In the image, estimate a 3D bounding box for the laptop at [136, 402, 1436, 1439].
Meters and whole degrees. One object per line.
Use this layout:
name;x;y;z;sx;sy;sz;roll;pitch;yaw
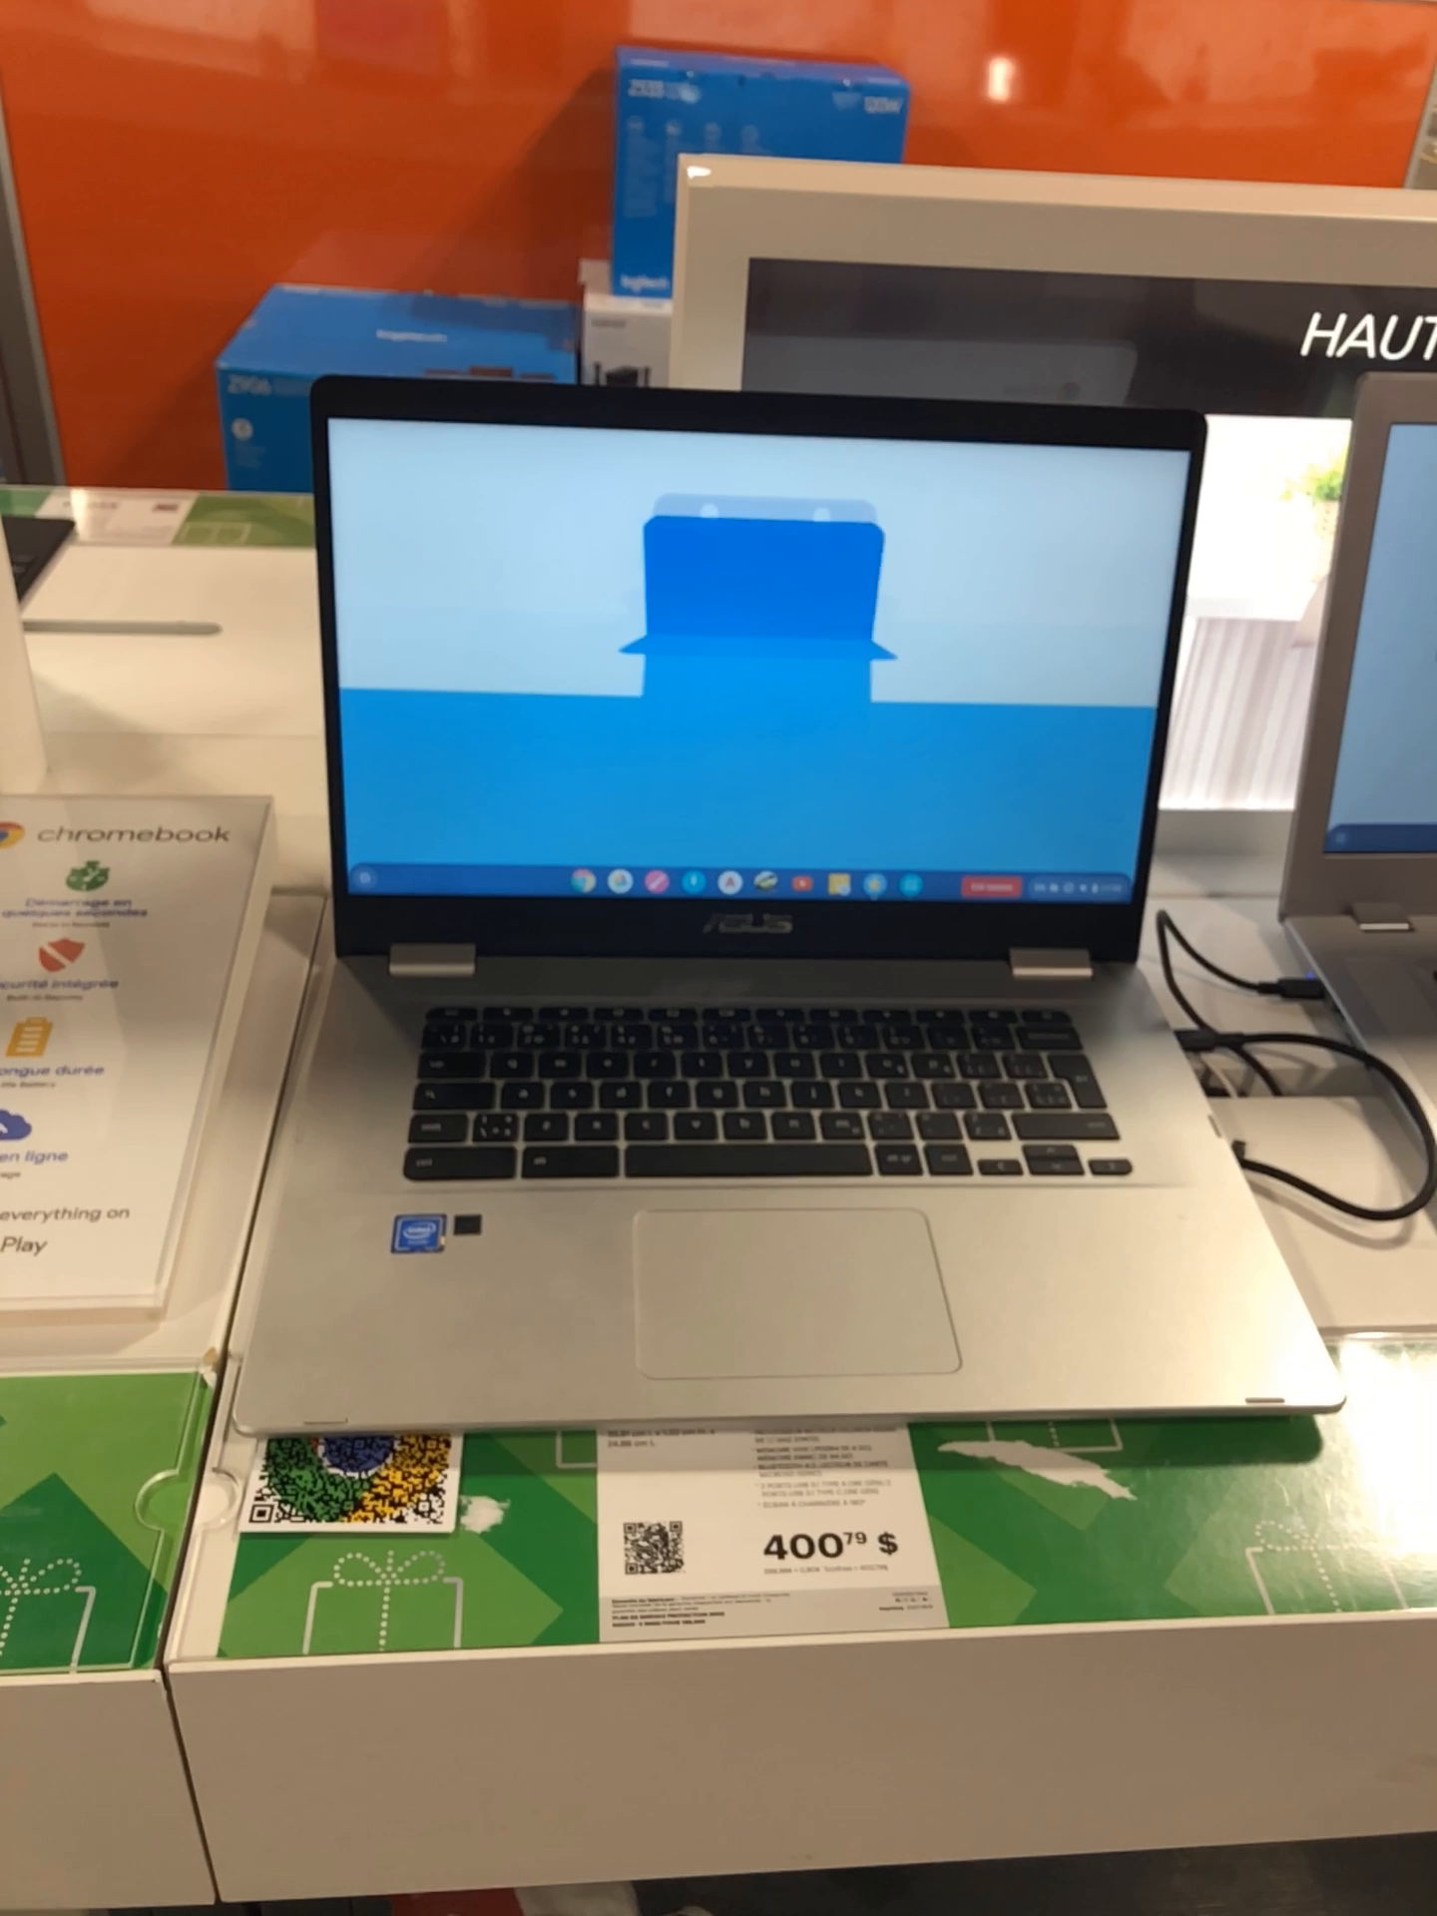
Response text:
laptop;0.029;-0.034;0.545;0.337;0.225;0.287;0;35;-5
